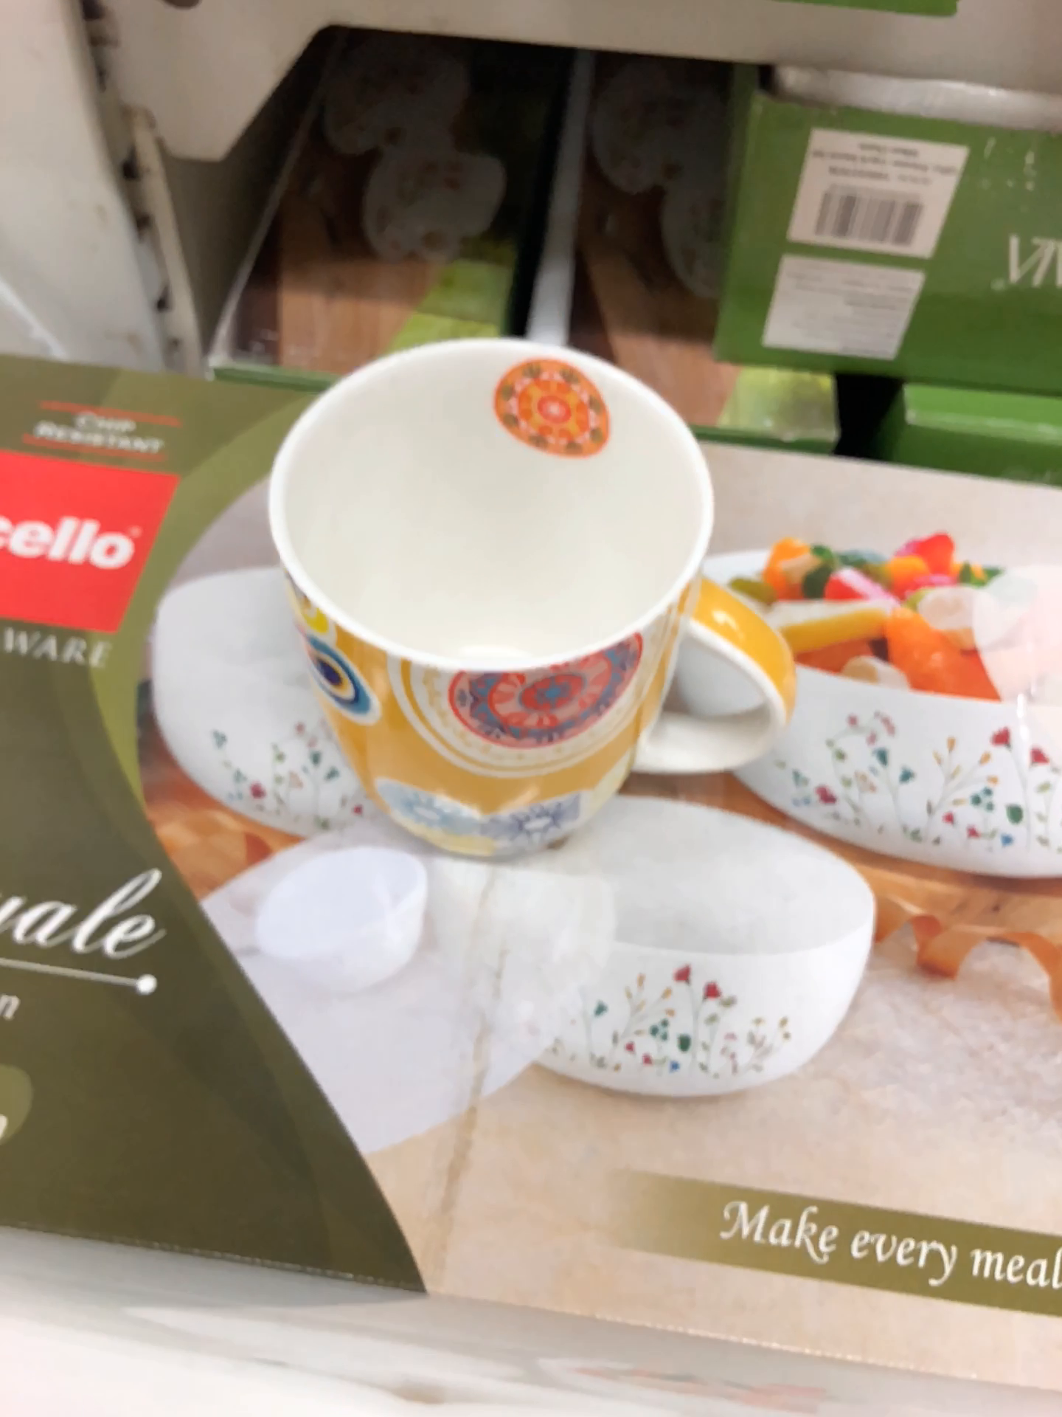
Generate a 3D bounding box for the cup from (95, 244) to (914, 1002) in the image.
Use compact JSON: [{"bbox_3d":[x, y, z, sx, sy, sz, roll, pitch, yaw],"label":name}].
[{"bbox_3d":[-0.001,-0.017,0.245,0.120,0.089,0.091,16,56,8],"label":"cup"}]
